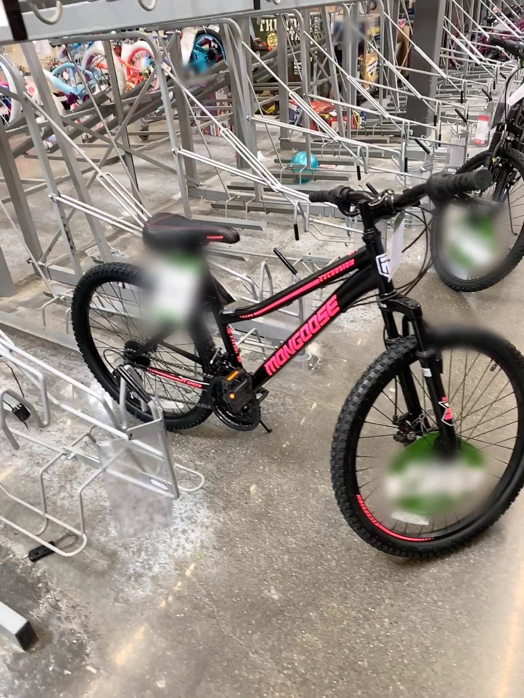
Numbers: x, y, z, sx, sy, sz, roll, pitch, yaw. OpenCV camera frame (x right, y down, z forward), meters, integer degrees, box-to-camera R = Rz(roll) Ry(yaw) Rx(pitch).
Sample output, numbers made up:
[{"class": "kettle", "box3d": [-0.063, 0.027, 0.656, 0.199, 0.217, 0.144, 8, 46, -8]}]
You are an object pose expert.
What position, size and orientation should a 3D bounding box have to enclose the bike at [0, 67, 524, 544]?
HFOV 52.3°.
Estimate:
[{"class": "bike", "box3d": [0.011, -0.154, 1.501, 1.400, 0.963, 0.642, 7, 35, 19]}]
